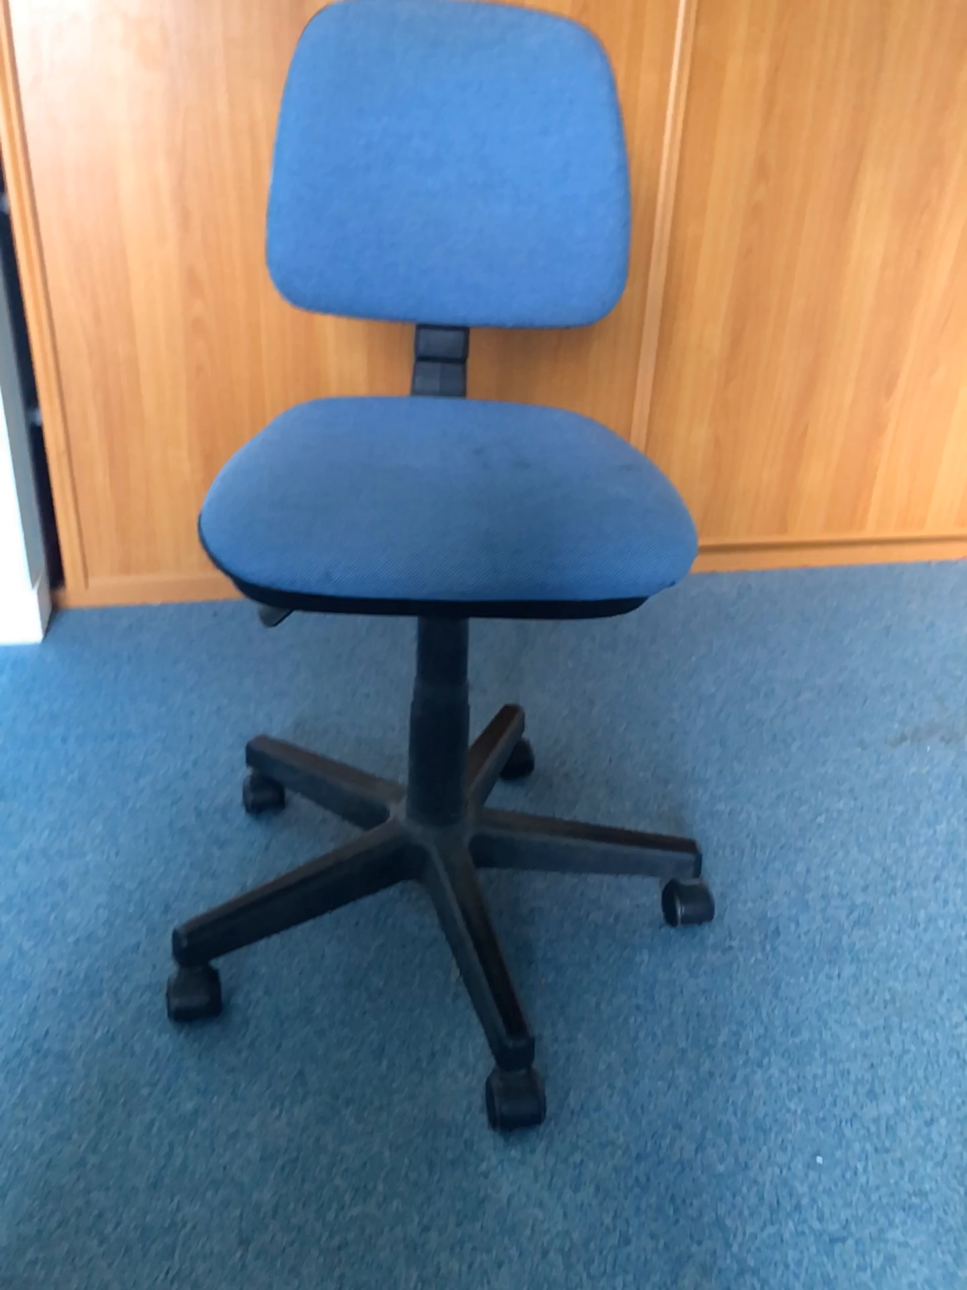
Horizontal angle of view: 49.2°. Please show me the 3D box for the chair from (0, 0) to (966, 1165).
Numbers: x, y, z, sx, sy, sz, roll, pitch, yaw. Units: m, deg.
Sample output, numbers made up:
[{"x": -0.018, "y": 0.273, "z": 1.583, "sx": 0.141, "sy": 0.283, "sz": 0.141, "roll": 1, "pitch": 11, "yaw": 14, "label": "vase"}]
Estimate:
[{"x": -0.023, "y": -0.139, "z": 1.063, "sx": 0.650, "sy": 0.914, "sz": 0.764, "roll": 0, "pitch": 27, "yaw": -6, "label": "chair"}]
